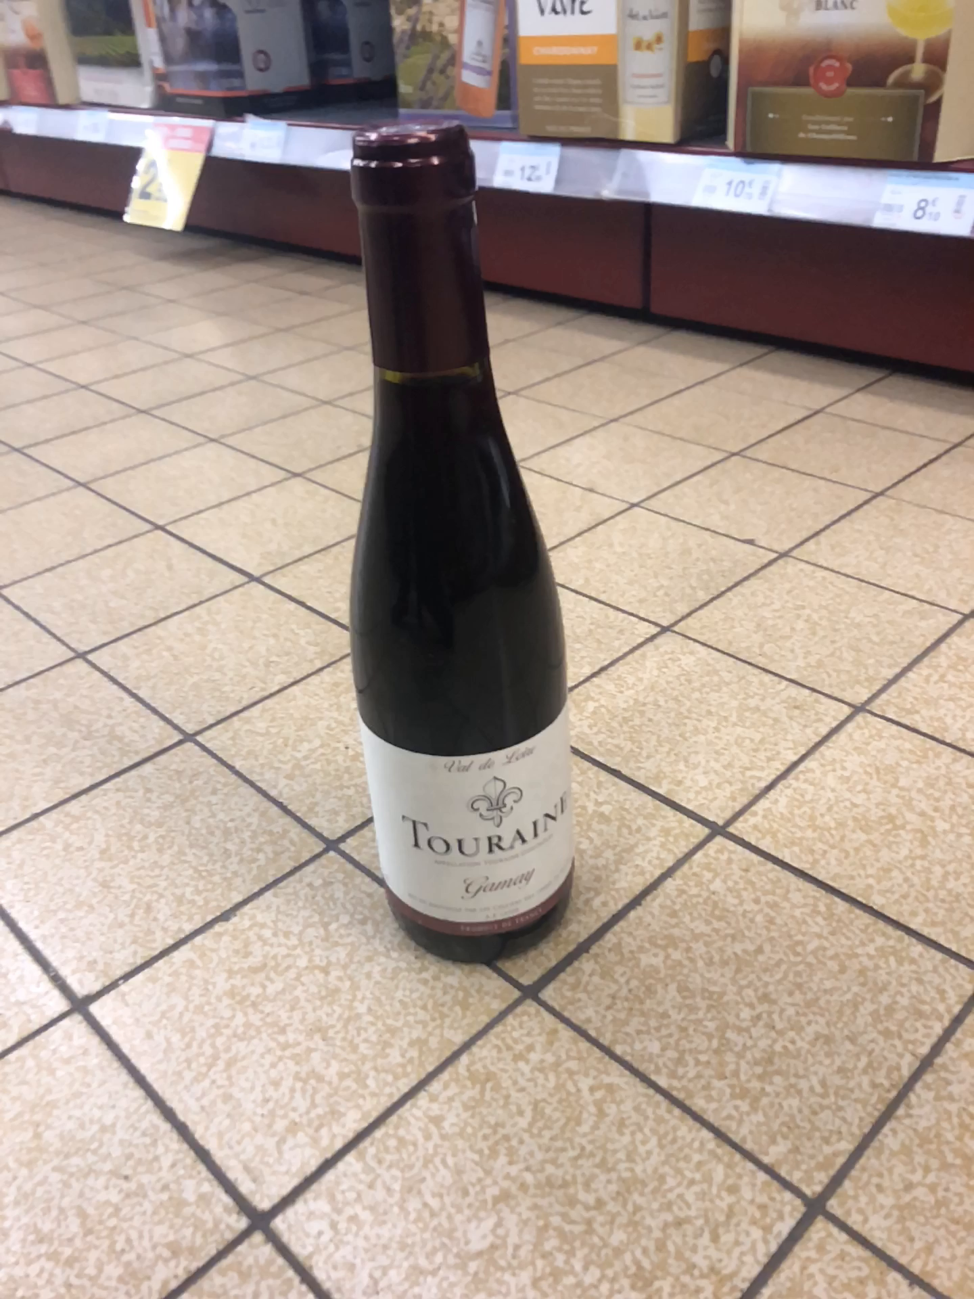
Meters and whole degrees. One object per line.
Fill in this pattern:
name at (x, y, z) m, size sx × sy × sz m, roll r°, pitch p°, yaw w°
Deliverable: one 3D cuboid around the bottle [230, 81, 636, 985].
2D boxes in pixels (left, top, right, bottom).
bottle at (-0.008, -0.021, 0.302) m, size 0.080 × 0.239 × 0.070 m, roll -6°, pitch 31°, yaw -4°
